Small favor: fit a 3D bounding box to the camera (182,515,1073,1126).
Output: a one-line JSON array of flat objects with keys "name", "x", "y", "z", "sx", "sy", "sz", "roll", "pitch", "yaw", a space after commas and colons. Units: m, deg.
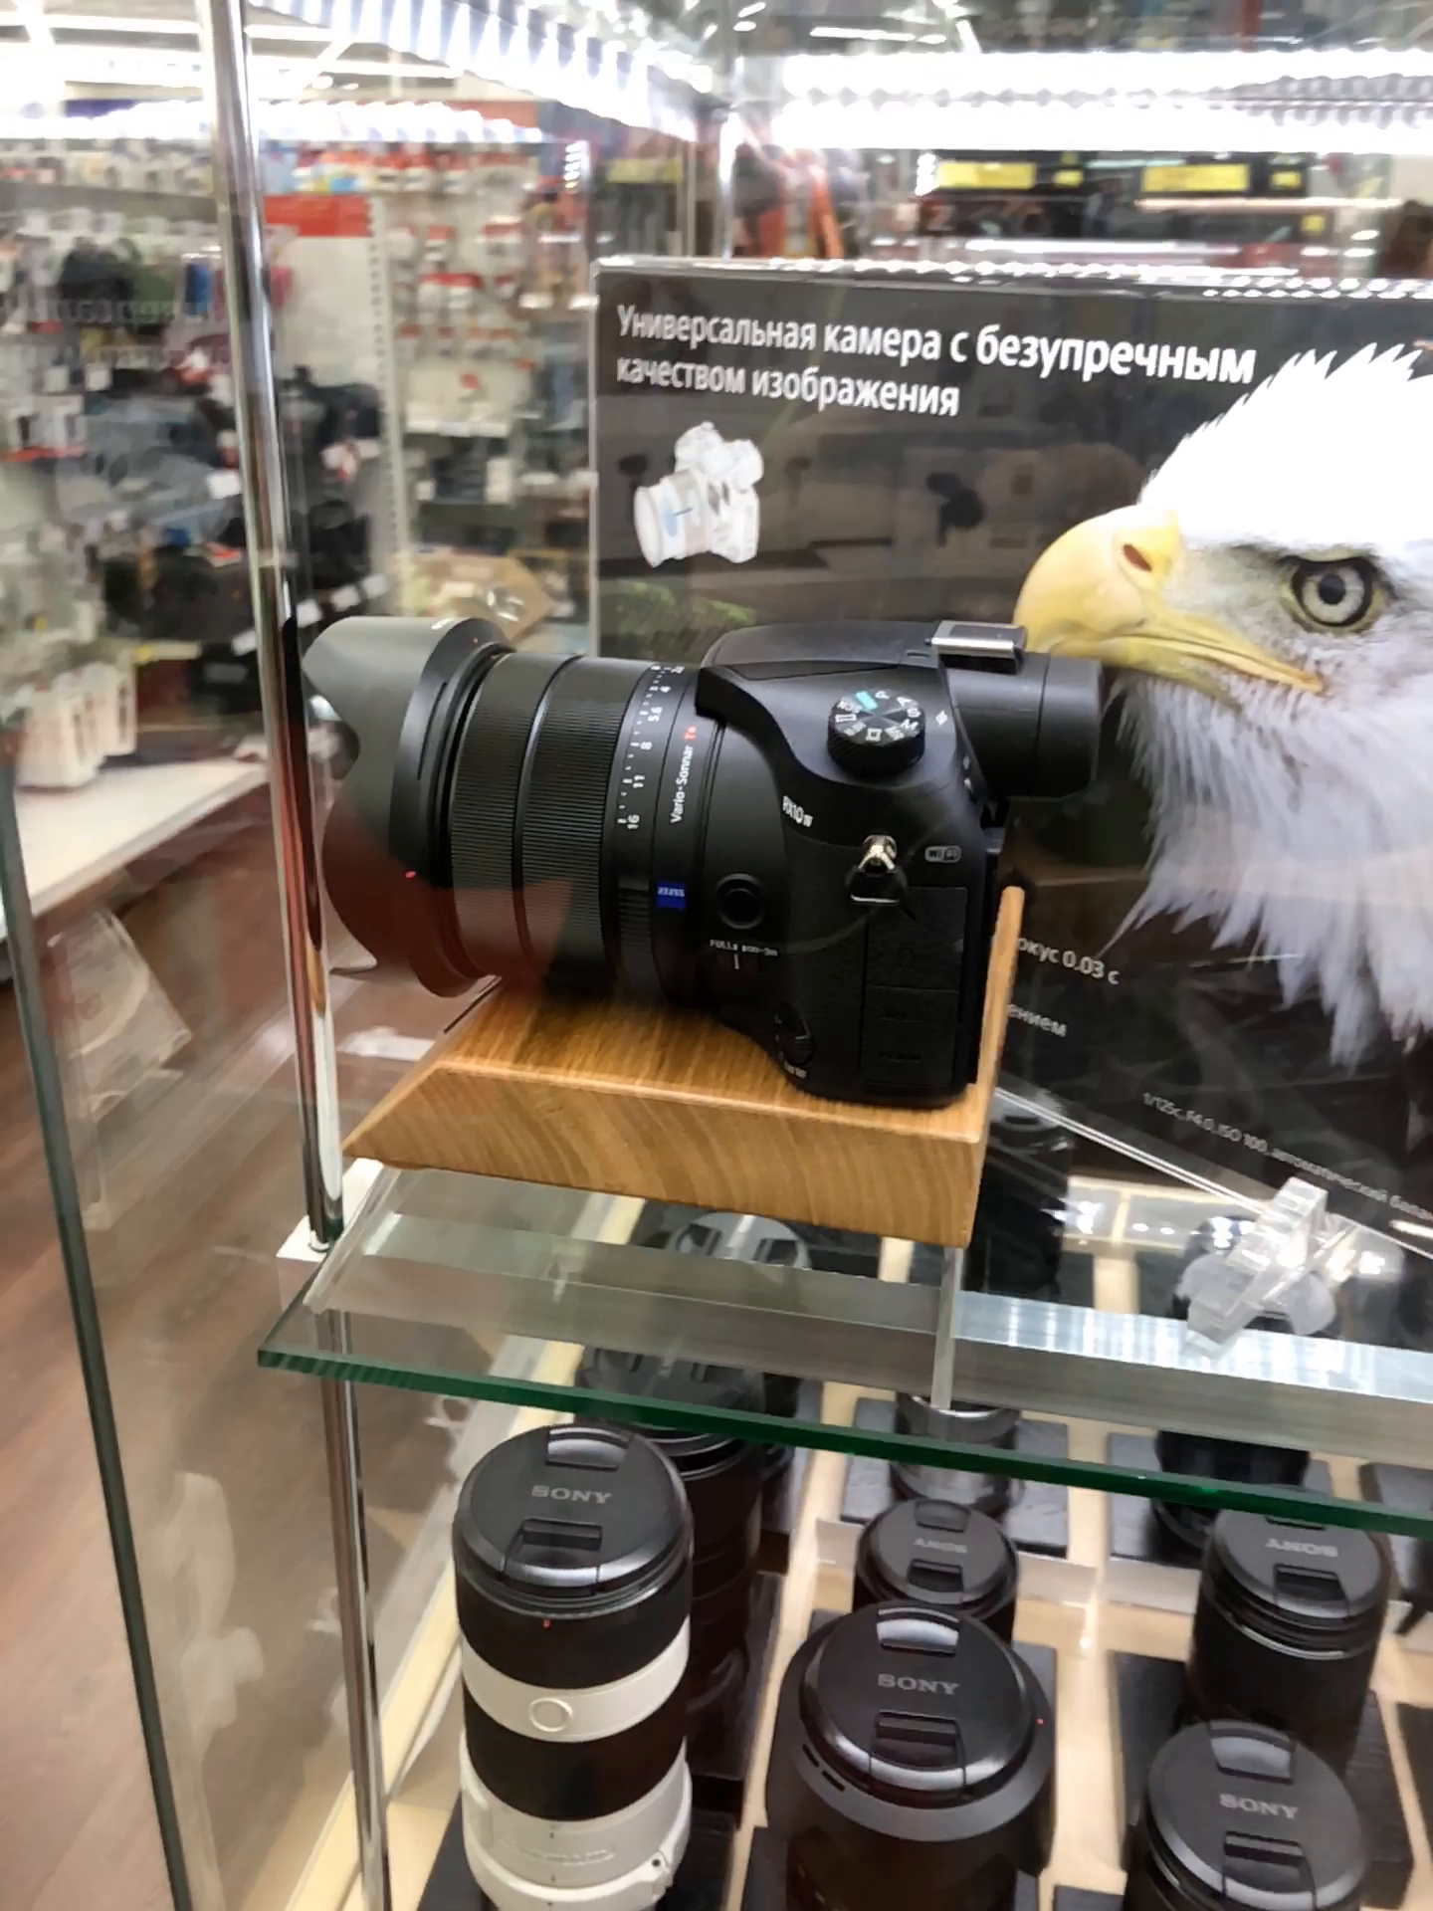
[{"name": "camera", "x": -0.010, "y": -0.043, "z": 0.385, "sx": 0.178, "sy": 0.099, "sz": 0.127, "roll": 6, "pitch": 23, "yaw": 11}]
